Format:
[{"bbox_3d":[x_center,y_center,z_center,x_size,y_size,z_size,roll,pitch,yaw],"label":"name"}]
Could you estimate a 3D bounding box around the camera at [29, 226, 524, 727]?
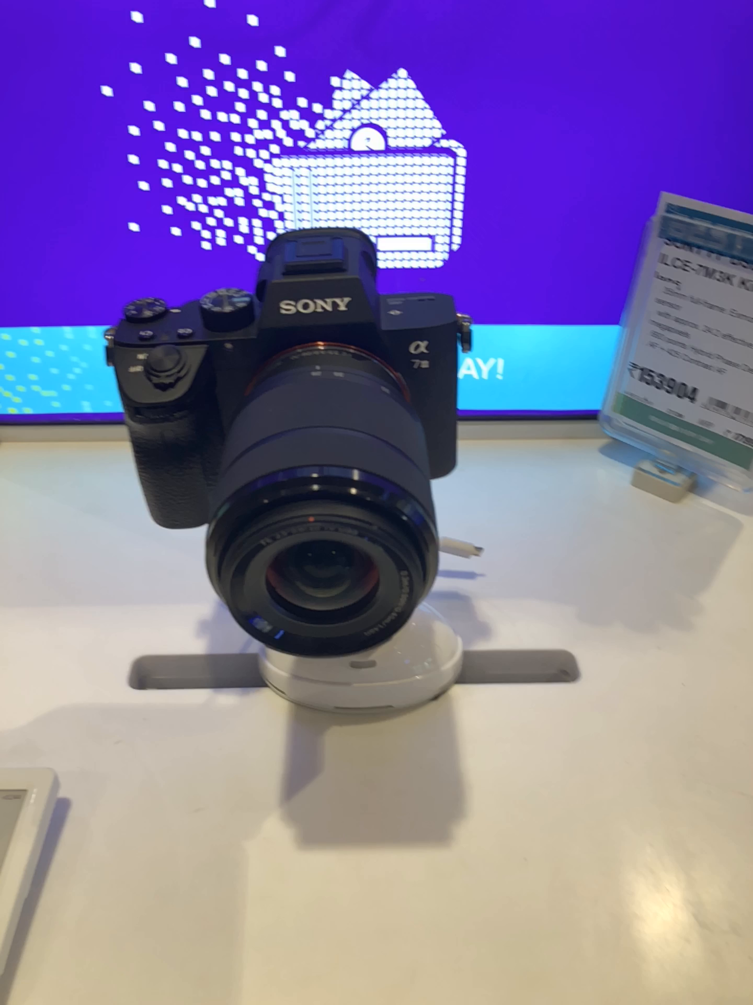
[{"bbox_3d":[-0.033,-0.017,0.285,0.120,0.109,0.128,-5,37,-8],"label":"camera"}]
